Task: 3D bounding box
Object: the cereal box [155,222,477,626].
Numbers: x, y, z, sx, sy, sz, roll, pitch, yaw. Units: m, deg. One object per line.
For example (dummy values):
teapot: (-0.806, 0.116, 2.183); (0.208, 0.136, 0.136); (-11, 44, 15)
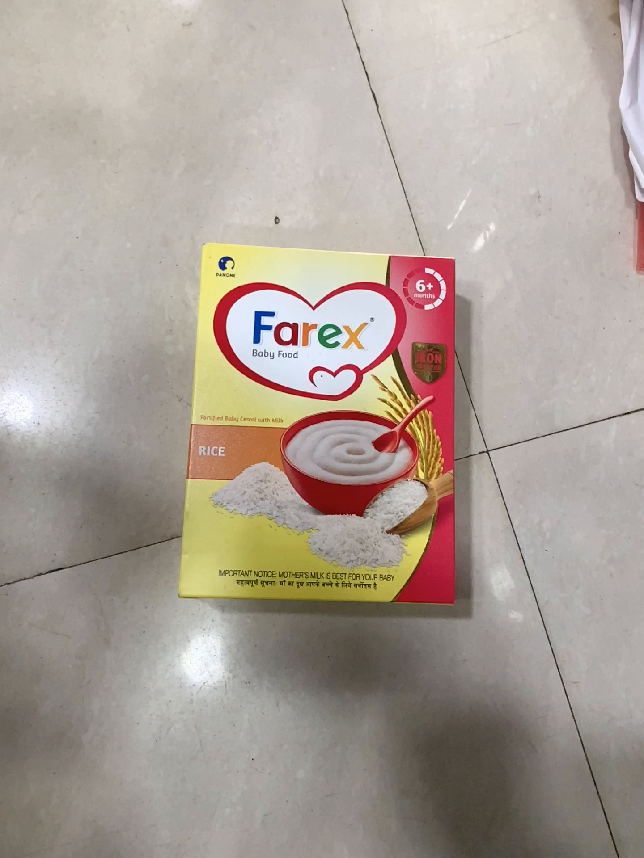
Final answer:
cereal box: (-0.001, -0.001, 0.378); (0.160, 0.060, 0.210); (2, 79, -4)
